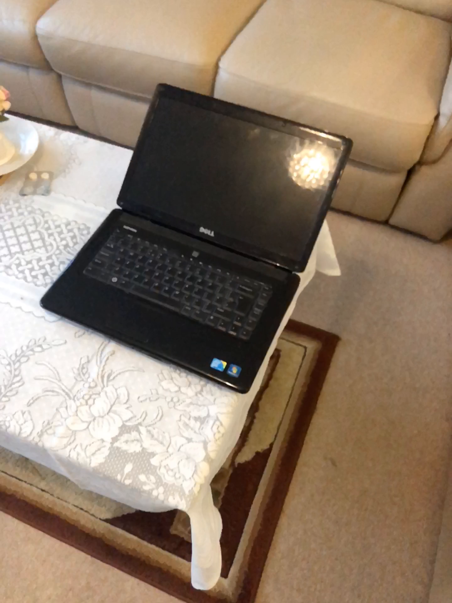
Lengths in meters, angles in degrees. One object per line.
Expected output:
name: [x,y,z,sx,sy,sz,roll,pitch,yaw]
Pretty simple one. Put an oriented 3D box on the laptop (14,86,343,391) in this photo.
laptop: [-0.054,-0.131,0.821,0.364,0.122,0.420,21,61,13]
